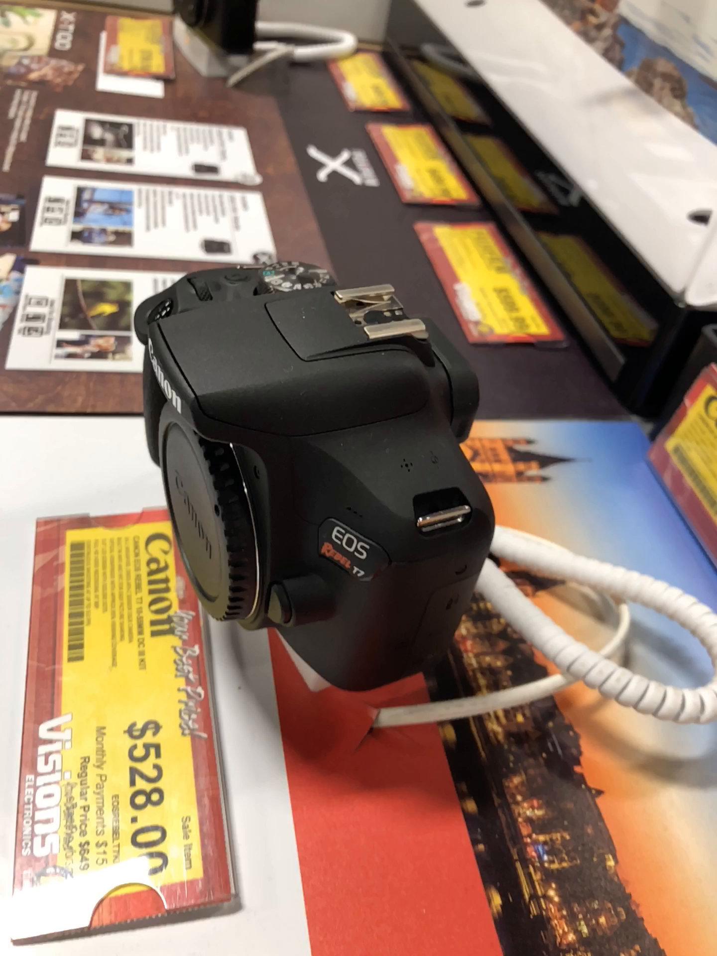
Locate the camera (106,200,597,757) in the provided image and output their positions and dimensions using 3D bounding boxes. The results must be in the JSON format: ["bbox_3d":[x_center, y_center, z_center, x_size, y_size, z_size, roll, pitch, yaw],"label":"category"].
[{"bbox_3d":[-0.016,-0.009,0.240,0.080,0.089,0.131,-13,48,-27],"label":"camera"}]
